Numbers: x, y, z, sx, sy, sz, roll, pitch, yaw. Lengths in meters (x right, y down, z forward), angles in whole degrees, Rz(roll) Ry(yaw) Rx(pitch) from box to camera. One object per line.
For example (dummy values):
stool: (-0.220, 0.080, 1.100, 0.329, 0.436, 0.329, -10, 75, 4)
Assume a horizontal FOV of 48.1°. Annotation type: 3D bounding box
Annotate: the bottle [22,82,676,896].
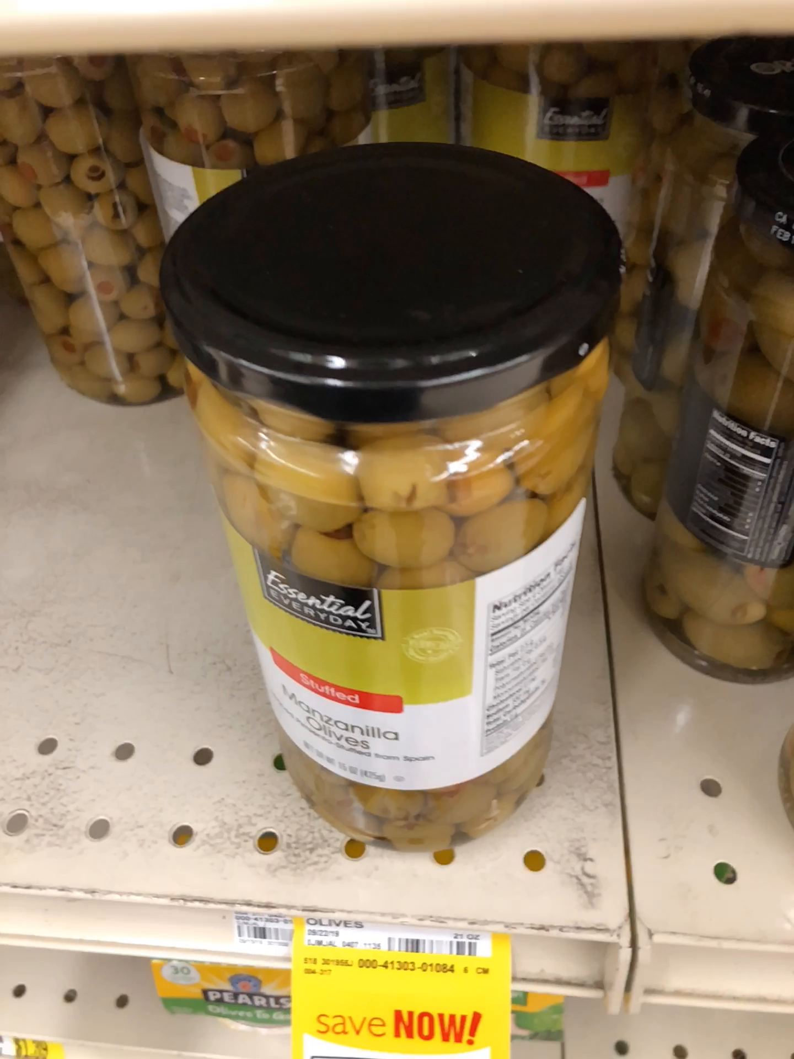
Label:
bottle: (-0.001, 0.003, 0.200, 0.080, 0.163, 0.070, 18, 51, 19)
